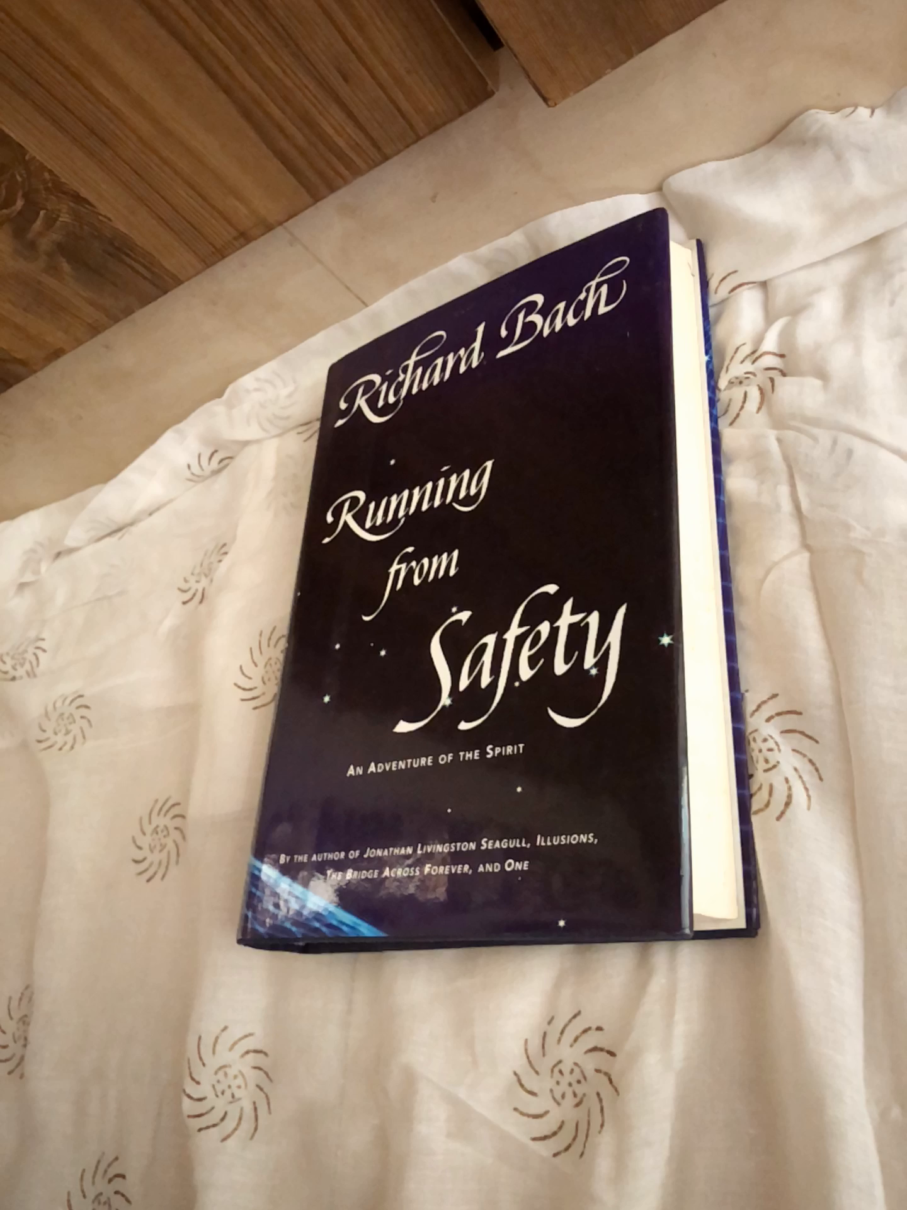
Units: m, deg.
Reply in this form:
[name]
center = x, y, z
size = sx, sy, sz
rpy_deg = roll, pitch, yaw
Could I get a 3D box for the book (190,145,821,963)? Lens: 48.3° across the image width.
[book]
center = 0.013, -0.019, 0.333
size = 0.171, 0.040, 0.250
rpy_deg = -13, 57, 28
